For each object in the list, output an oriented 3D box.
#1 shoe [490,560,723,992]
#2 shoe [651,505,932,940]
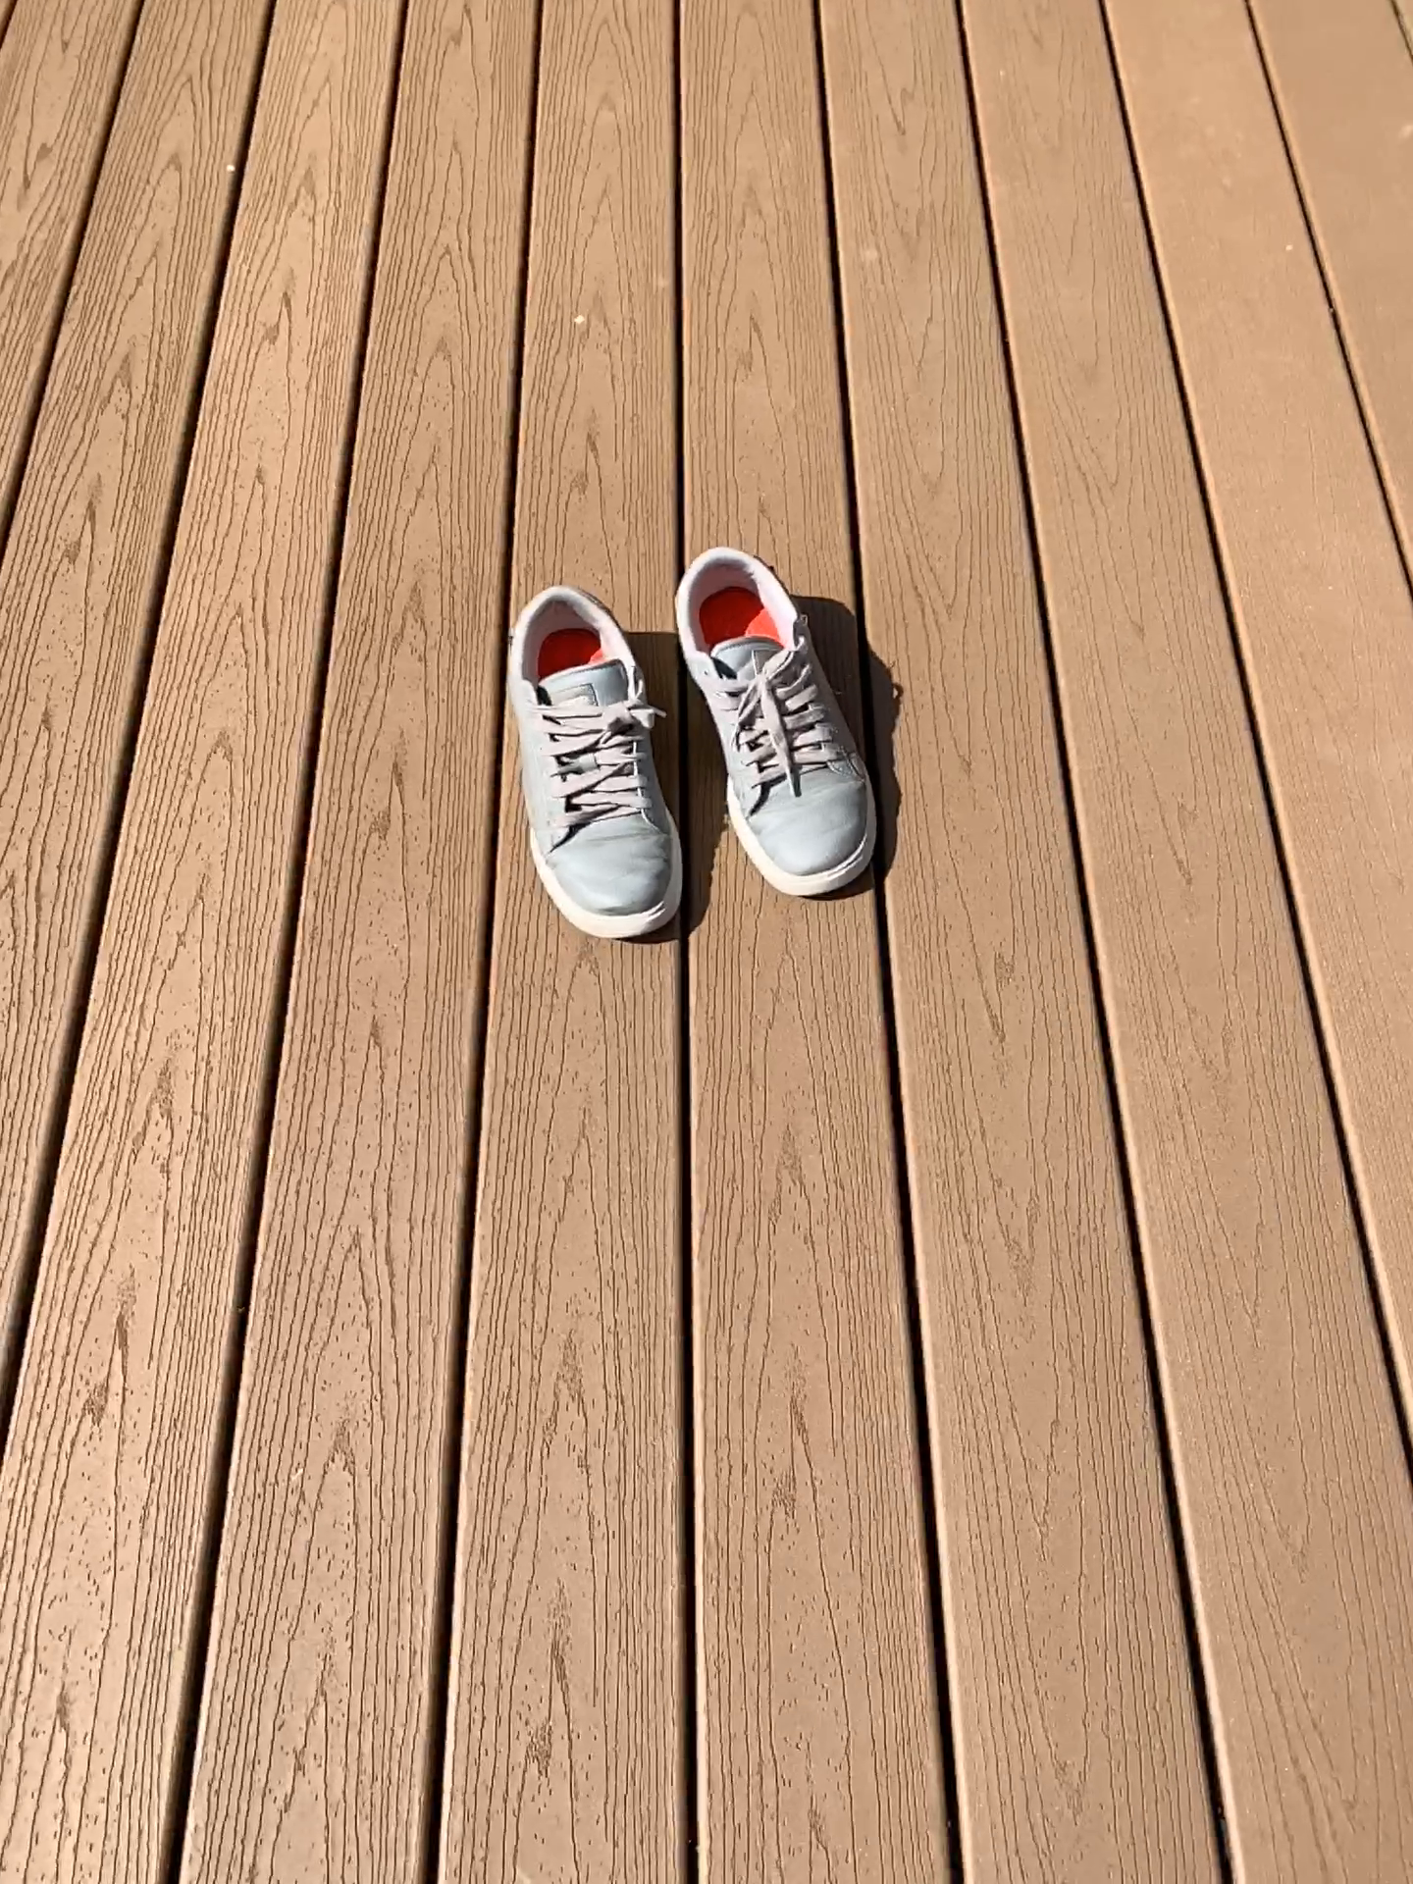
[{"bbox_3d":[-0.074,-0.125,1.057,0.120,0.100,0.291,-10,64,-2],"label":"shoe"},{"bbox_3d":[0.056,-0.163,1.052,0.120,0.100,0.291,-14,64,-4],"label":"shoe"}]
